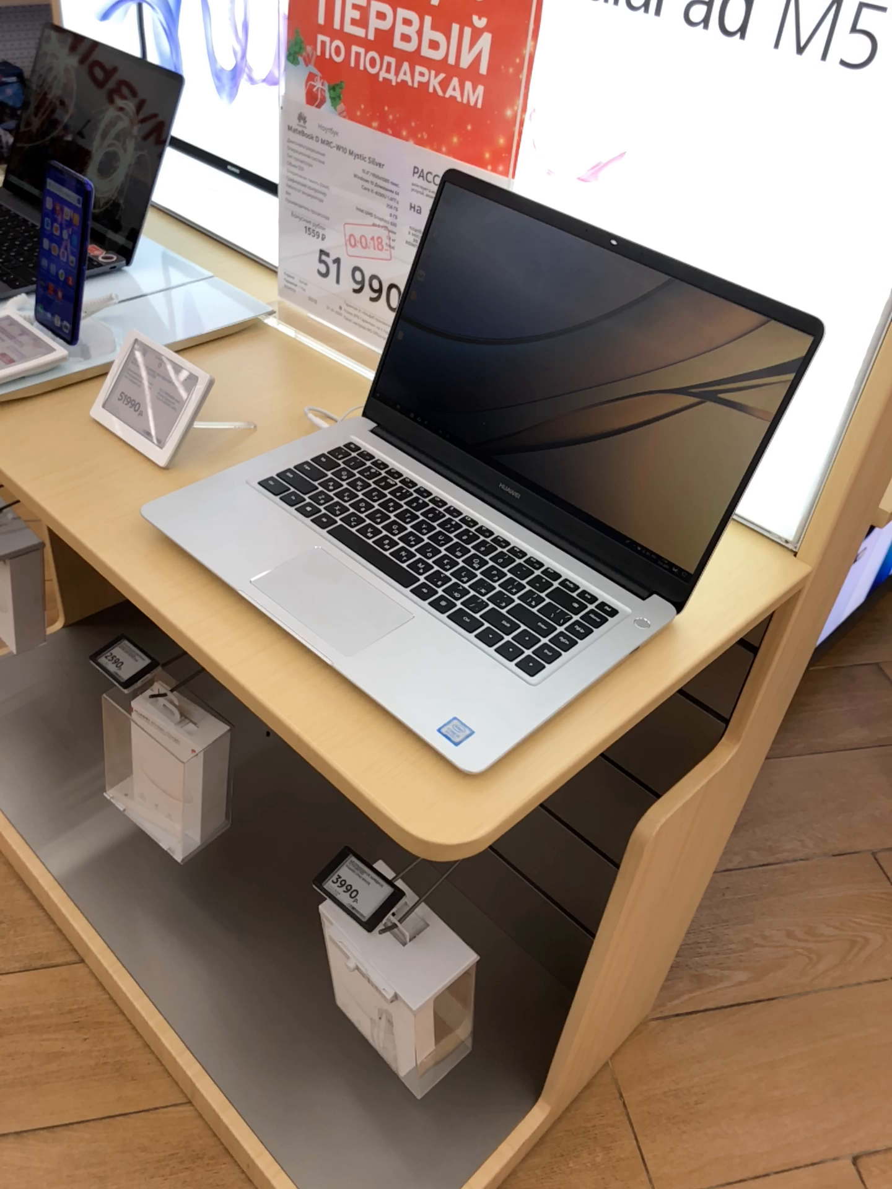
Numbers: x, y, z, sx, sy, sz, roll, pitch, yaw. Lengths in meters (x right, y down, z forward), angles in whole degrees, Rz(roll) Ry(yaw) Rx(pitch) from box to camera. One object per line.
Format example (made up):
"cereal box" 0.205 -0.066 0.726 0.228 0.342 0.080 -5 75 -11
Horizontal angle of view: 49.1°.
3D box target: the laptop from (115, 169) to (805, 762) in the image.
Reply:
"laptop" 0.004 -0.126 0.706 0.341 0.204 0.306 34 46 28
